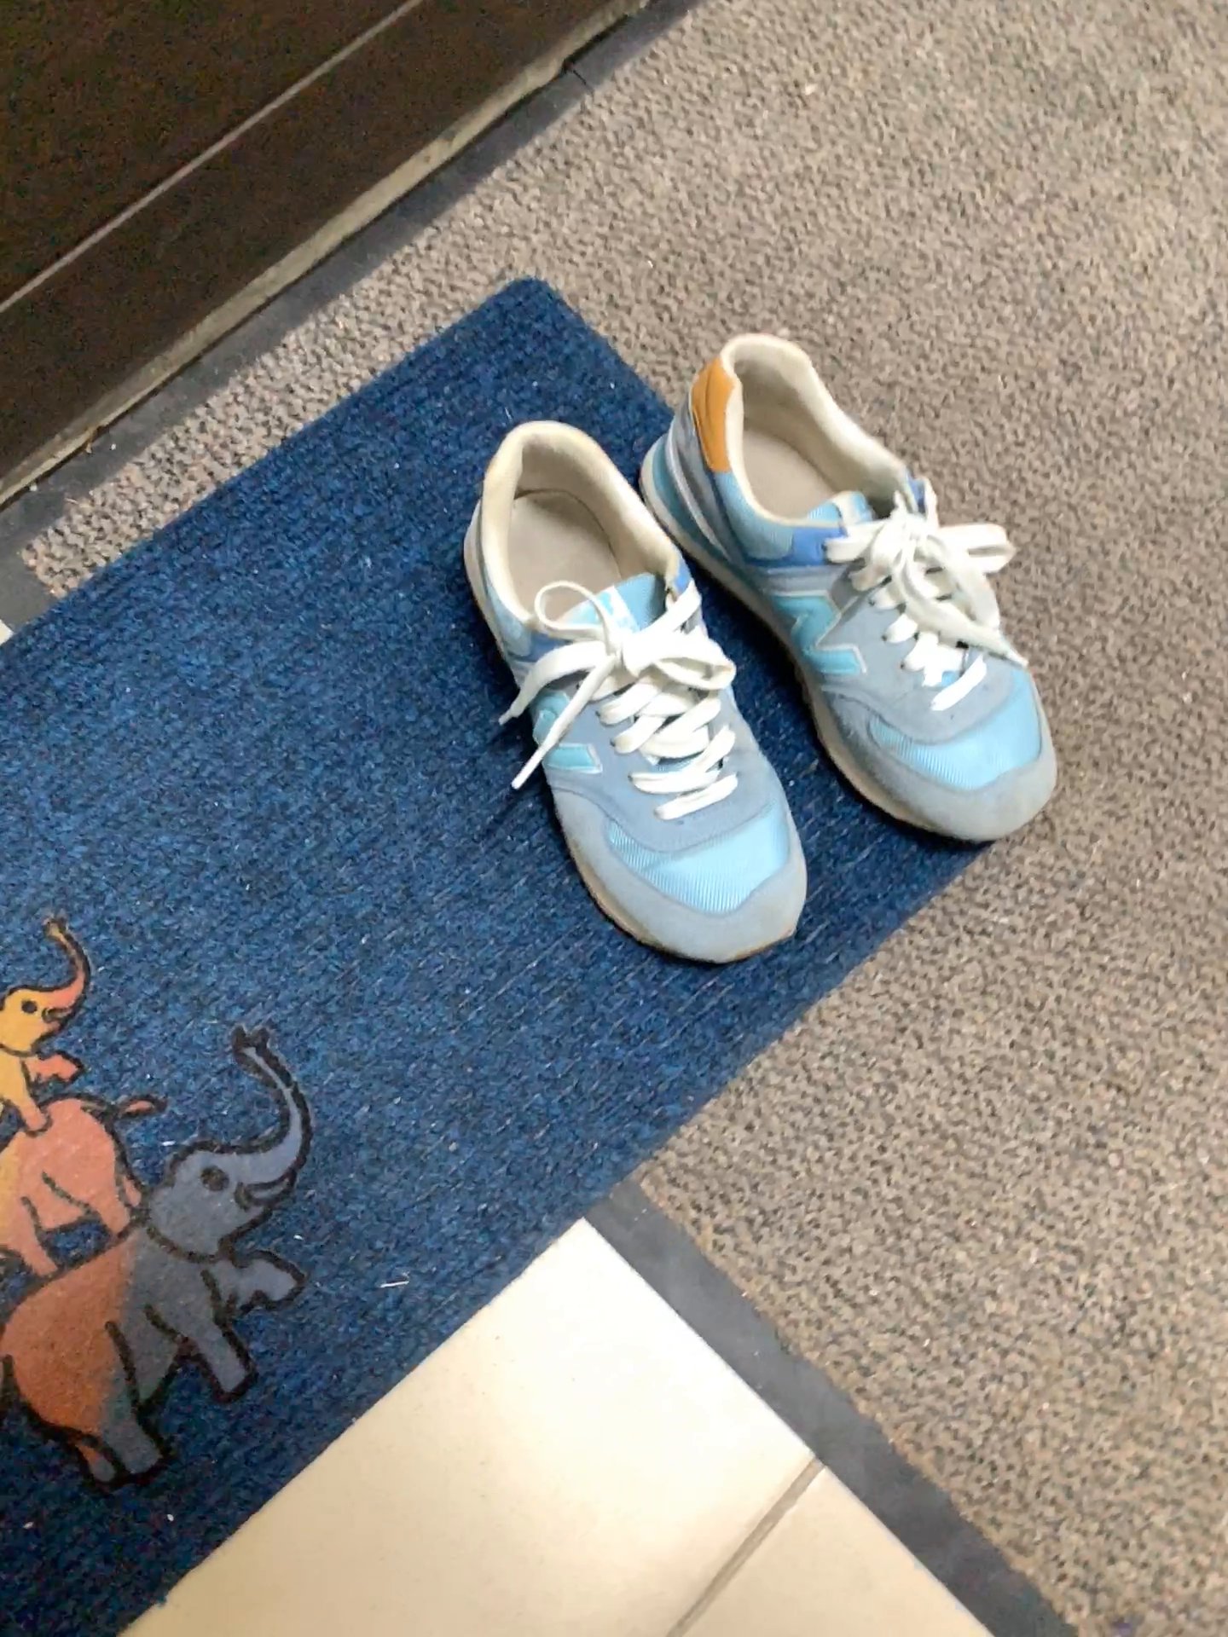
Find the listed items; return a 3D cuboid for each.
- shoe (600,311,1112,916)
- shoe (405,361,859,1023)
[{"bbox_3d":[0.100,-0.091,0.597,0.090,0.120,0.250,-33,78,-7],"label":"shoe"},{"bbox_3d":[-0.004,-0.051,0.578,0.080,0.140,0.260,-23,76,-13],"label":"shoe"}]
